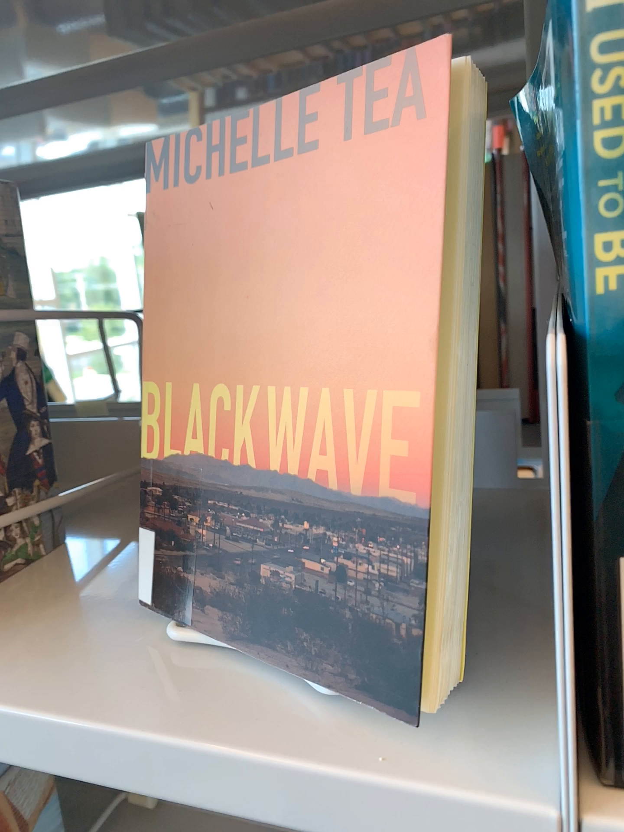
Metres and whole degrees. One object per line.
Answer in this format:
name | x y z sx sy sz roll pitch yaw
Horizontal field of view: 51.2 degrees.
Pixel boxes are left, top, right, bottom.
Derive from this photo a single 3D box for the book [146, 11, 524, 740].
book | -0.003 -0.013 0.242 0.147 0.201 0.036 4 4 42
